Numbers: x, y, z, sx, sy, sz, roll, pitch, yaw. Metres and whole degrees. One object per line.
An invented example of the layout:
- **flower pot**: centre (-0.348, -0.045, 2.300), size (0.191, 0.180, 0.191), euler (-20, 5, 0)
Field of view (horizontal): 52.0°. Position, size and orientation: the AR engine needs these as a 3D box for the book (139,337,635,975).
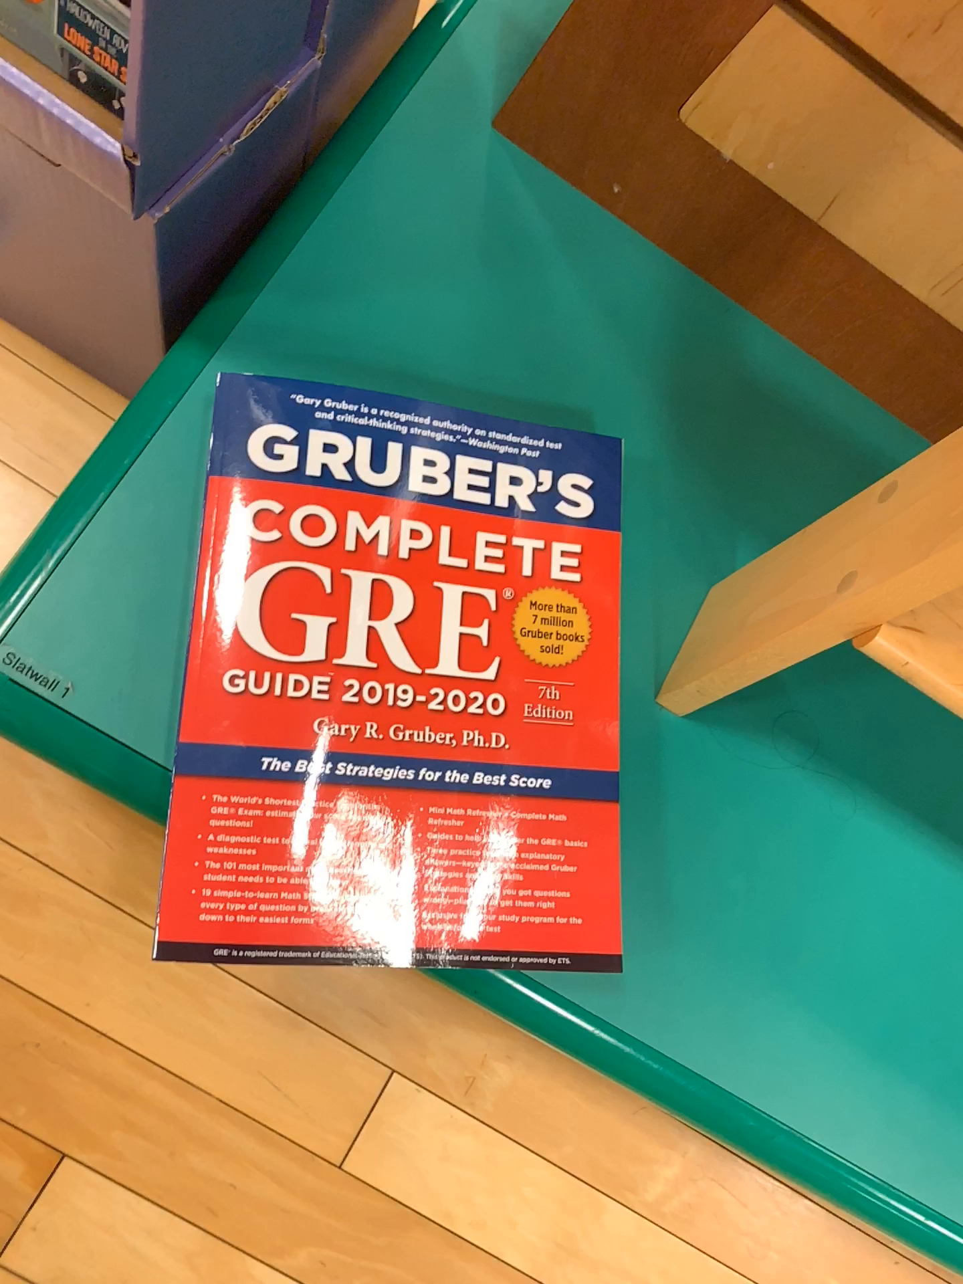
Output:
- **book**: centre (-0.036, 0.010, 0.494), size (0.220, 0.040, 0.290), euler (6, 78, -15)
